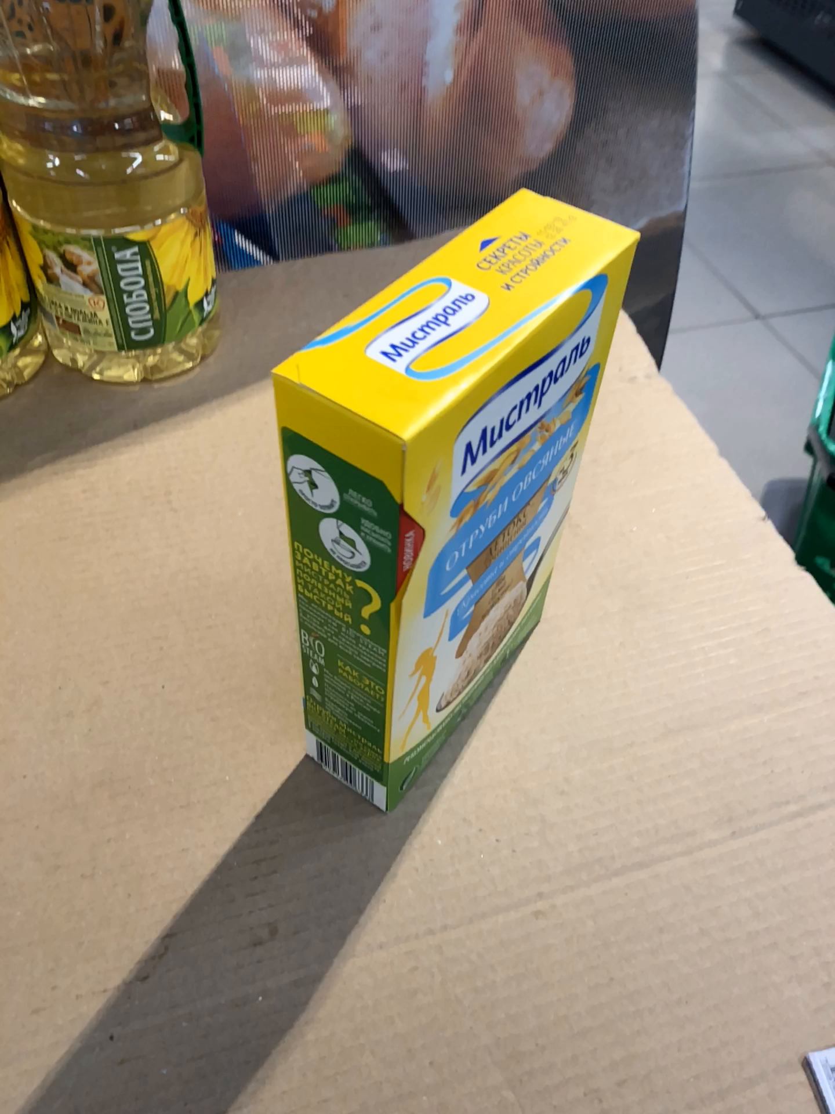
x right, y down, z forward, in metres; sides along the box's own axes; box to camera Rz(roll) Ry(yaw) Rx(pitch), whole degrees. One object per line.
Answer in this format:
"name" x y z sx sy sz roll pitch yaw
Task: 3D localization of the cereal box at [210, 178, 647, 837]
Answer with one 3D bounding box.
"cereal box" 0.007 -0.008 0.351 0.050 0.209 0.151 31 55 21
